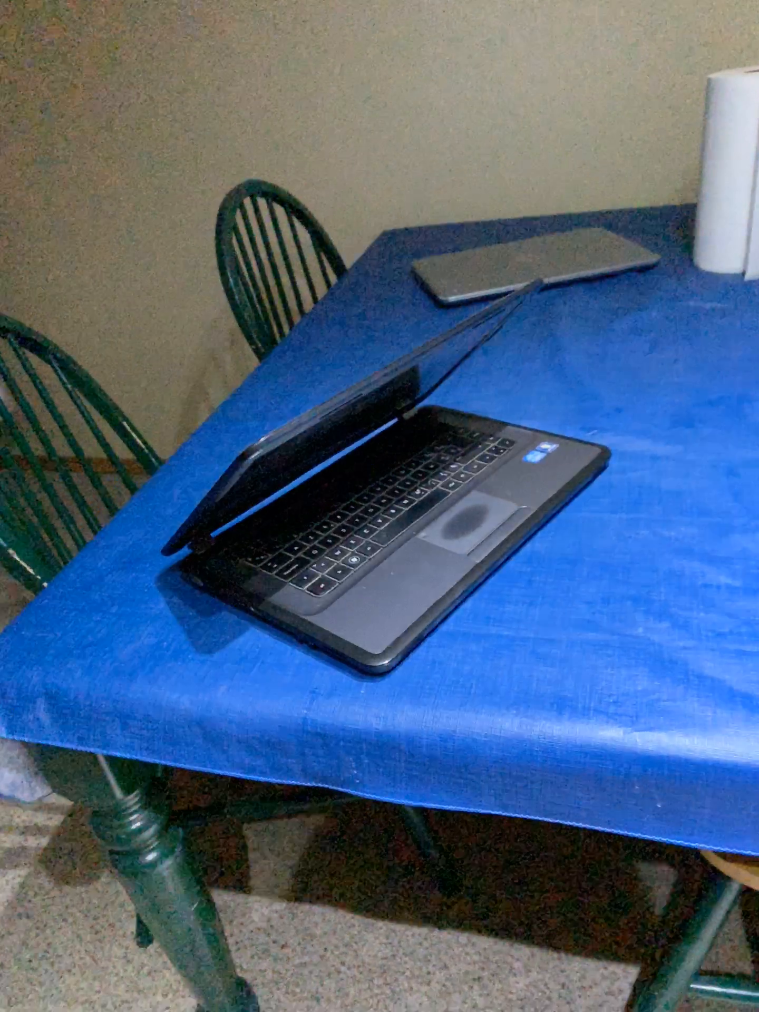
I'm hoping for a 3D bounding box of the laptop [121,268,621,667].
[{"bbox_3d":[0.016,-0.072,0.683,0.244,0.160,0.363,17,39,37],"label":"laptop"}]
